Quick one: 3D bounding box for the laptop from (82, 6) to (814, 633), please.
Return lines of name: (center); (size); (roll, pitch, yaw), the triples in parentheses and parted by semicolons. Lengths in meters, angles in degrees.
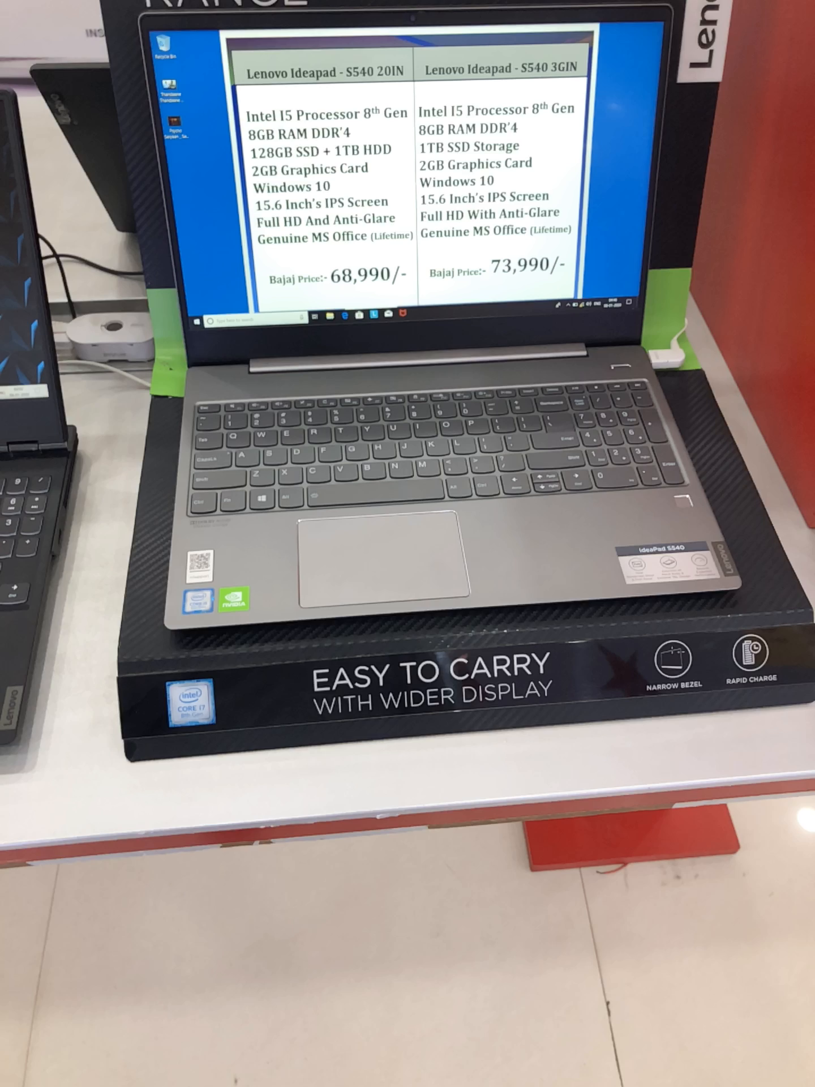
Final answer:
laptop: (0.019, -0.151, 0.552); (0.336, 0.194, 0.325); (-4, 52, -5)
